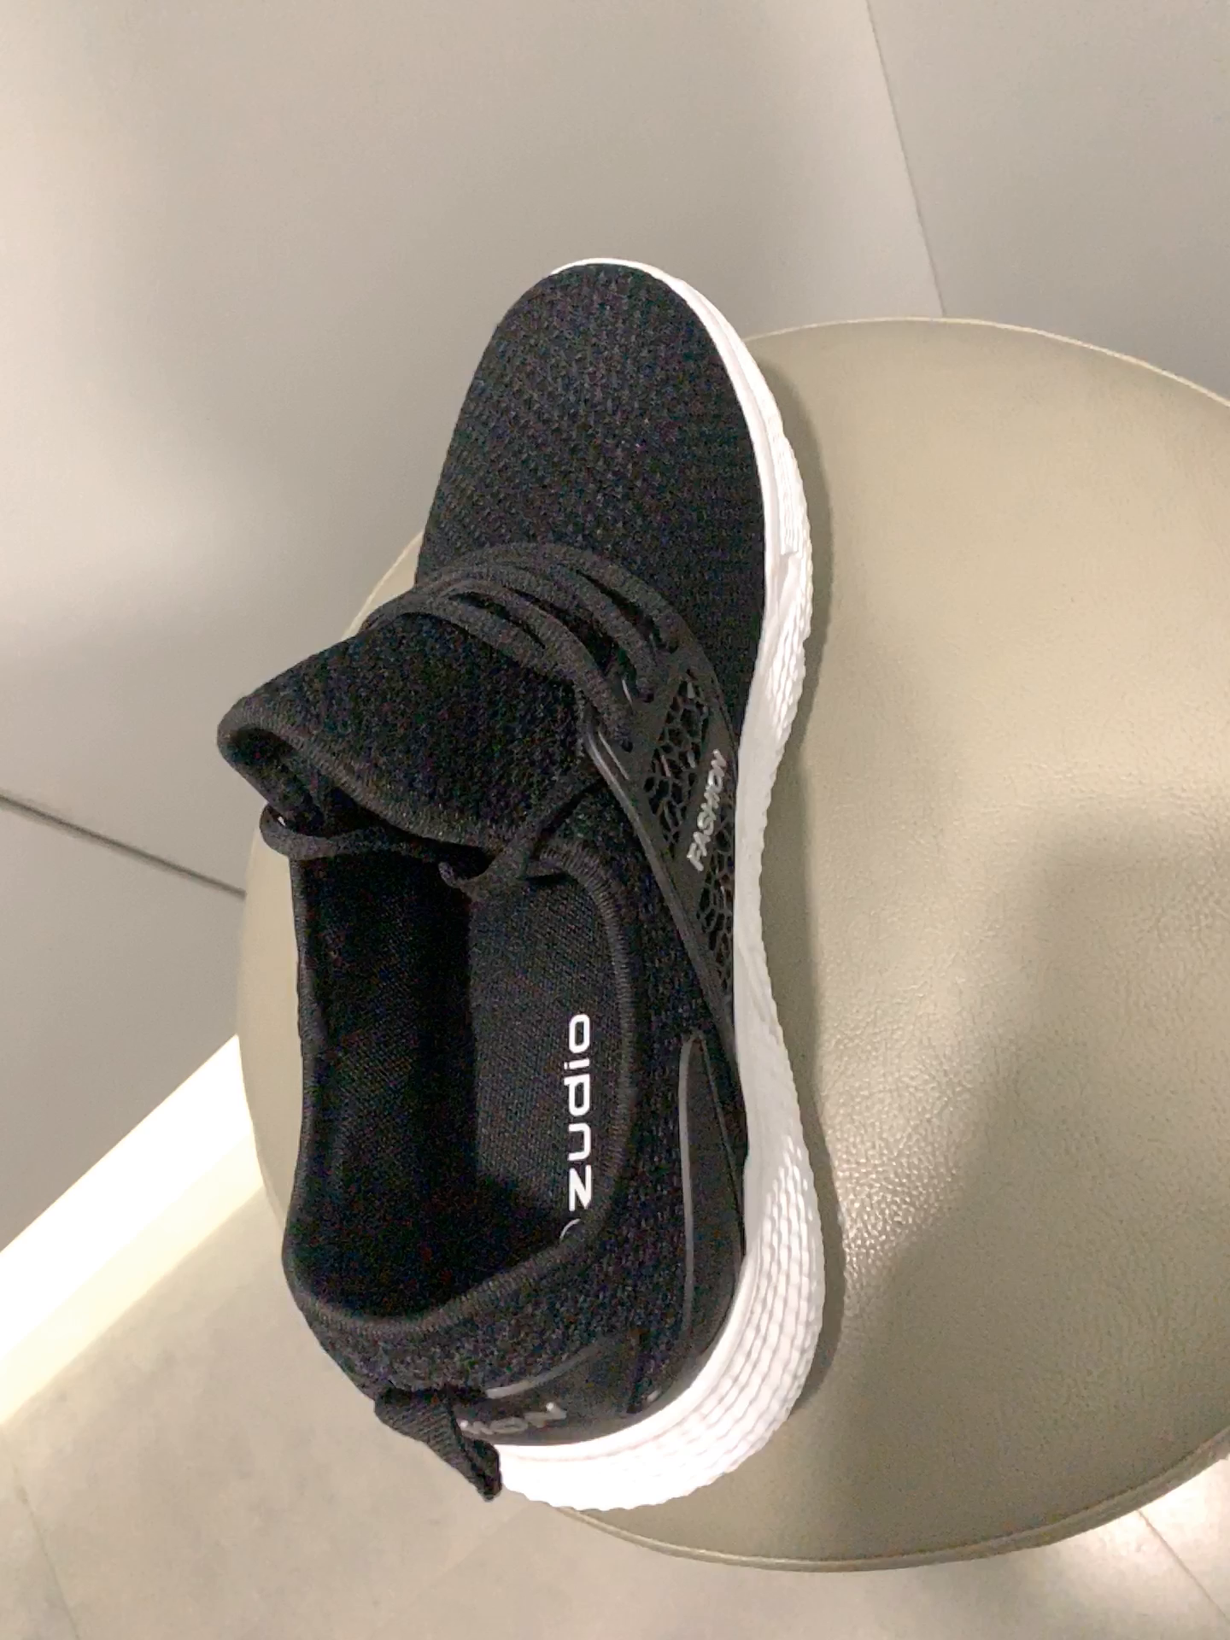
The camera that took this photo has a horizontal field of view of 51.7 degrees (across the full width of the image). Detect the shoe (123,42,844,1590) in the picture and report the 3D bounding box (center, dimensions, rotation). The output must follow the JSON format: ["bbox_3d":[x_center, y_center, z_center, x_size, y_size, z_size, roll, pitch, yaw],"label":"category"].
[{"bbox_3d":[-0.010,-0.008,0.294,0.100,0.110,0.290,-4,71,23],"label":"shoe"}]
